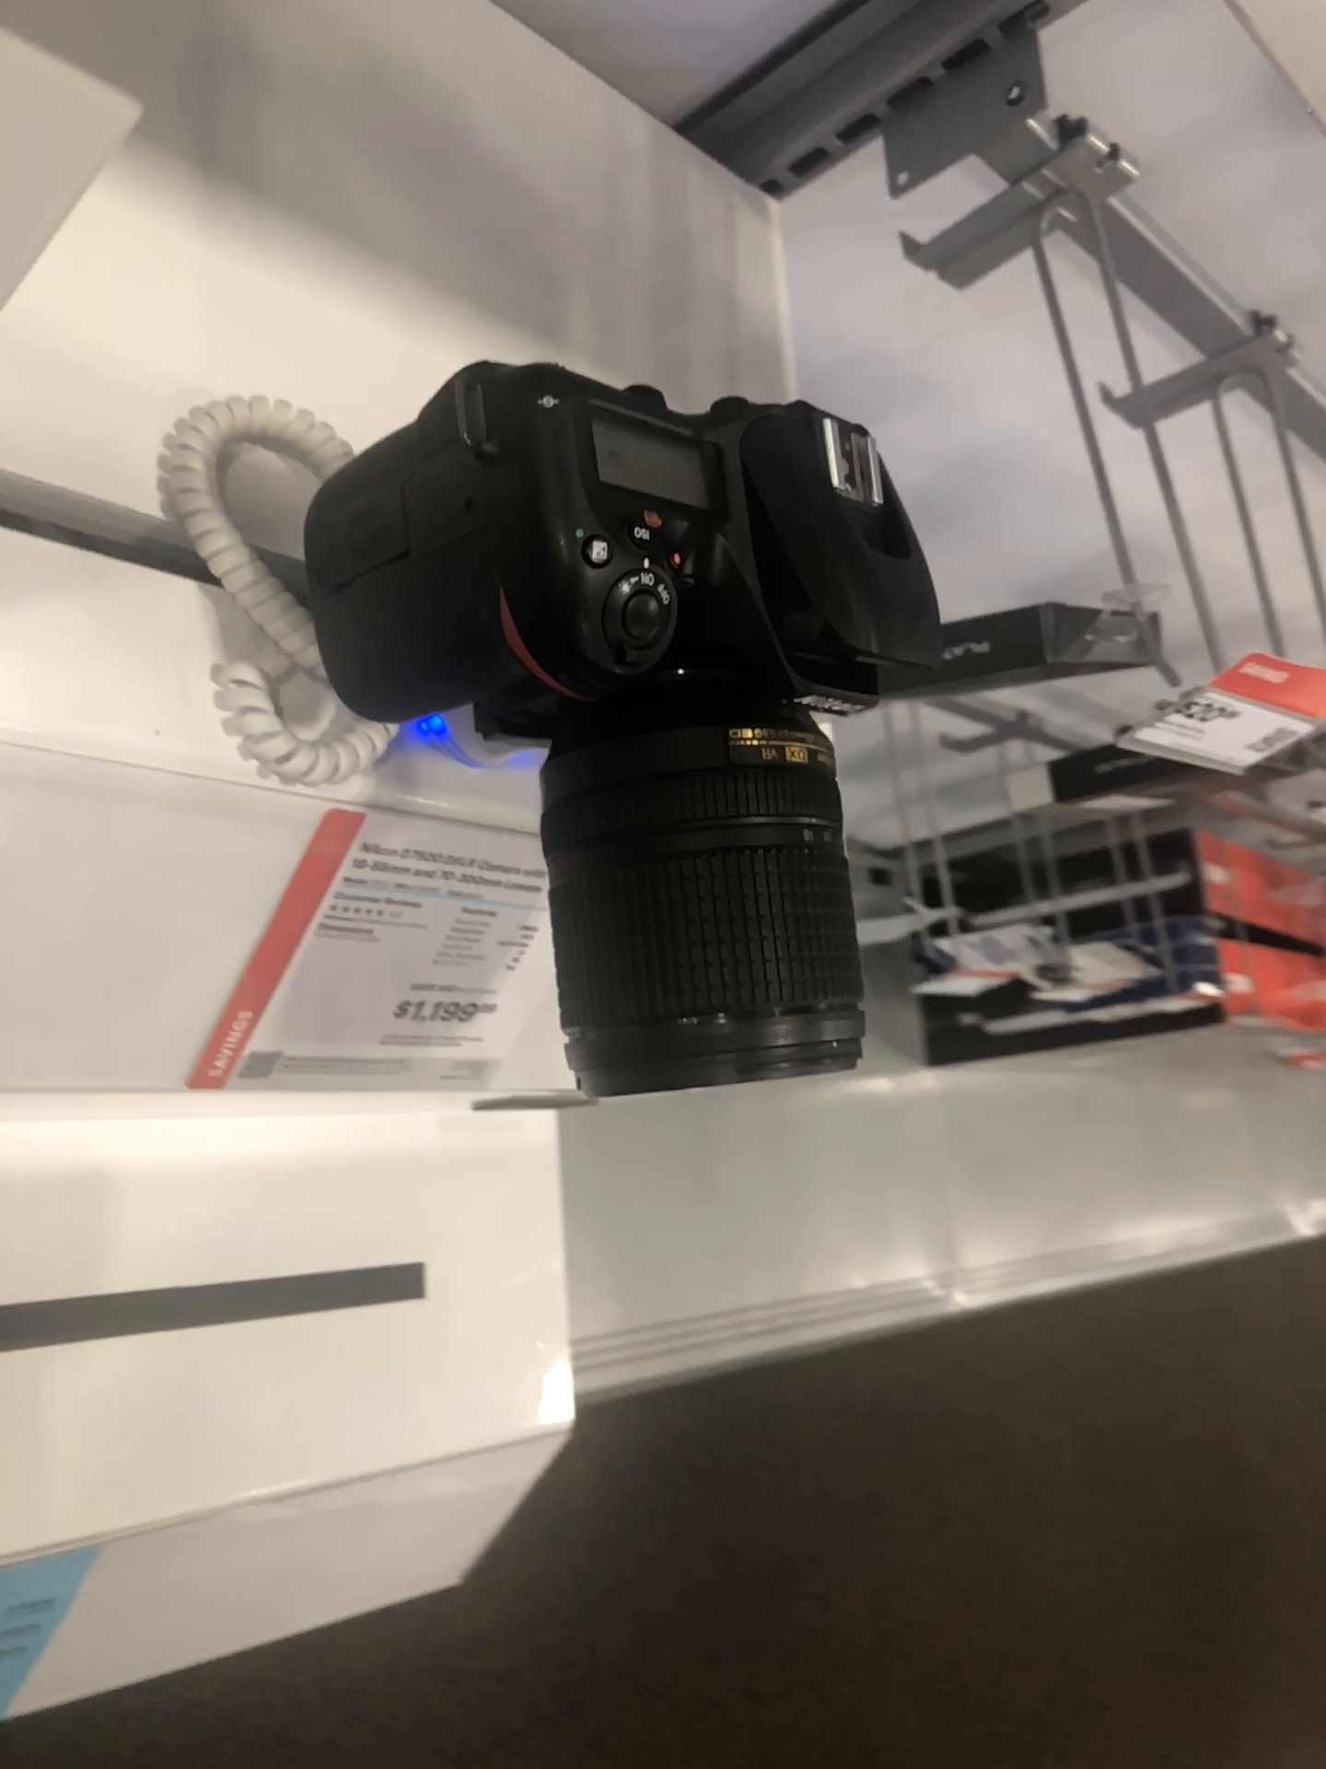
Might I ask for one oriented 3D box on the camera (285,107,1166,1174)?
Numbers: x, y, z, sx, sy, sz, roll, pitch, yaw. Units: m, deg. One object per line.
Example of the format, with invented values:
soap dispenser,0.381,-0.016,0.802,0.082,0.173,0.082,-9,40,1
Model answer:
camera,0.016,-0.039,0.359,0.151,0.119,0.190,2,76,-48
